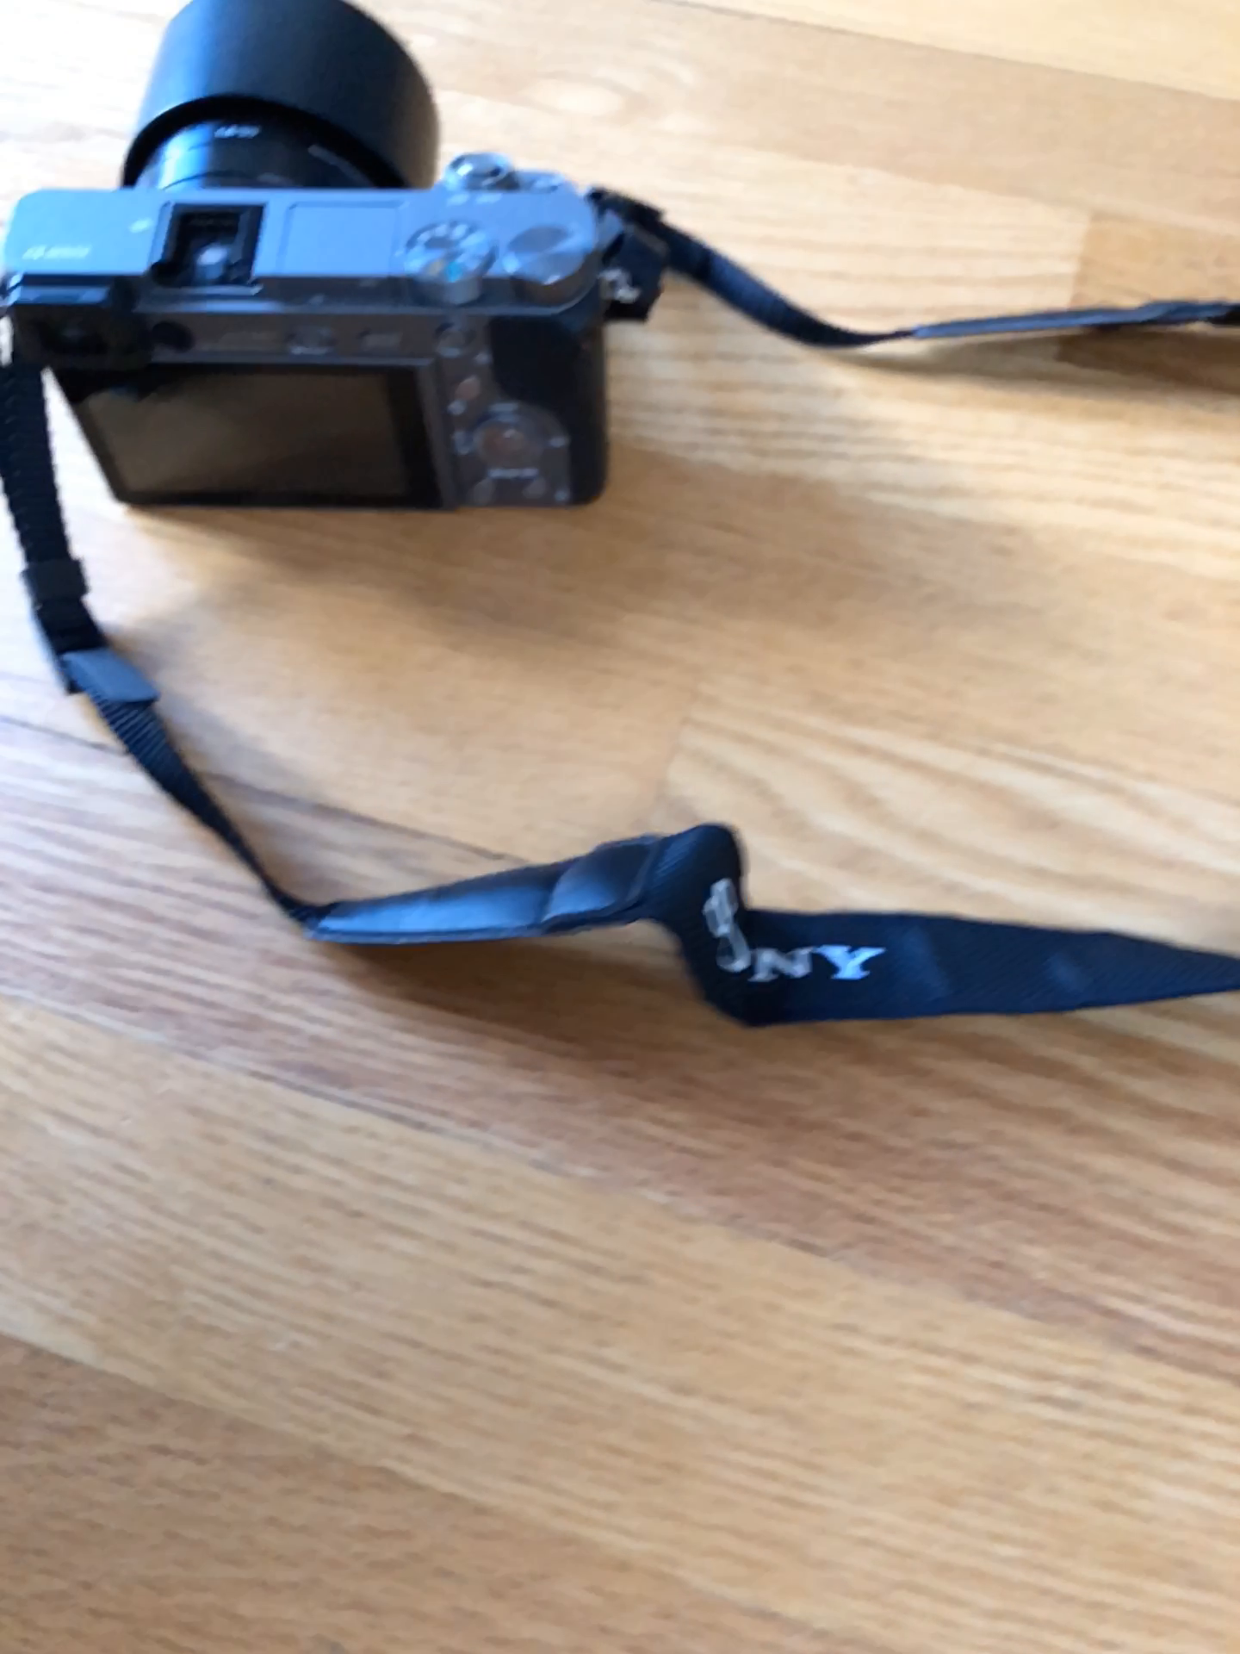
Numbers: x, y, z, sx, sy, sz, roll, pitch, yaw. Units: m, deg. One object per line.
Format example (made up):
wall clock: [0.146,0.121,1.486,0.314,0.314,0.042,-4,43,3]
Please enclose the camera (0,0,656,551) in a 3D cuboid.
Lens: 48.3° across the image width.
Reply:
camera: [-0.060,-0.132,0.323,0.136,0.079,0.107,0,63,1]
